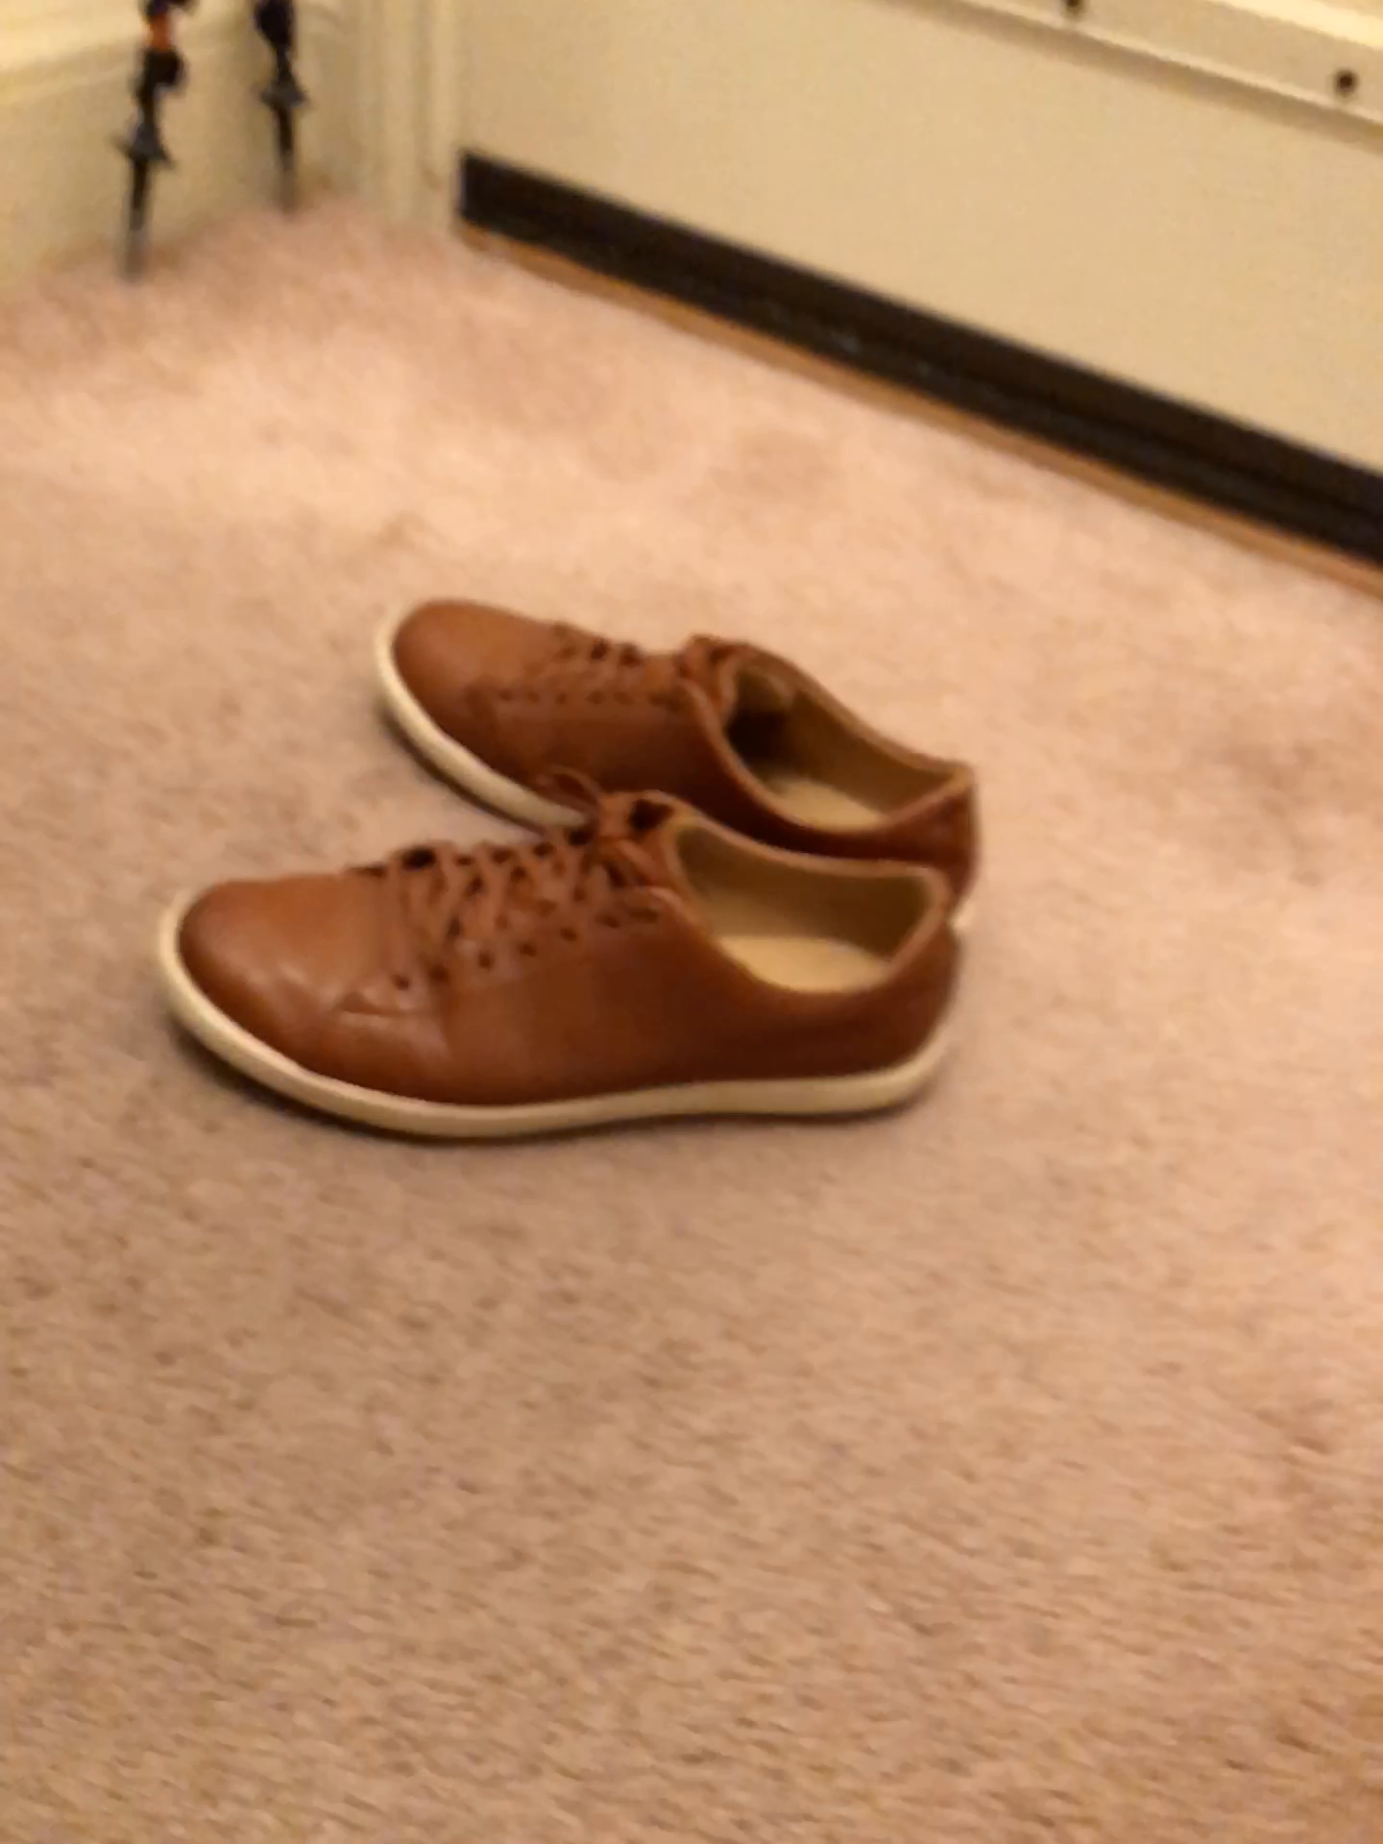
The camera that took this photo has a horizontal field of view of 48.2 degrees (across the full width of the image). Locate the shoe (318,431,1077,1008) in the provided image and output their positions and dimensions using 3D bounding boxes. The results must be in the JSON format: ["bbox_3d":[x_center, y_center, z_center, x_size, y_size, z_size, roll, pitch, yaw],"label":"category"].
[{"bbox_3d":[-0.003,-0.093,0.655,0.285,0.102,0.118,24,46,14],"label":"shoe"}]

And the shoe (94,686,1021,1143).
[{"bbox_3d":[-0.046,-0.001,0.553,0.285,0.100,0.118,2,44,-8],"label":"shoe"}]
